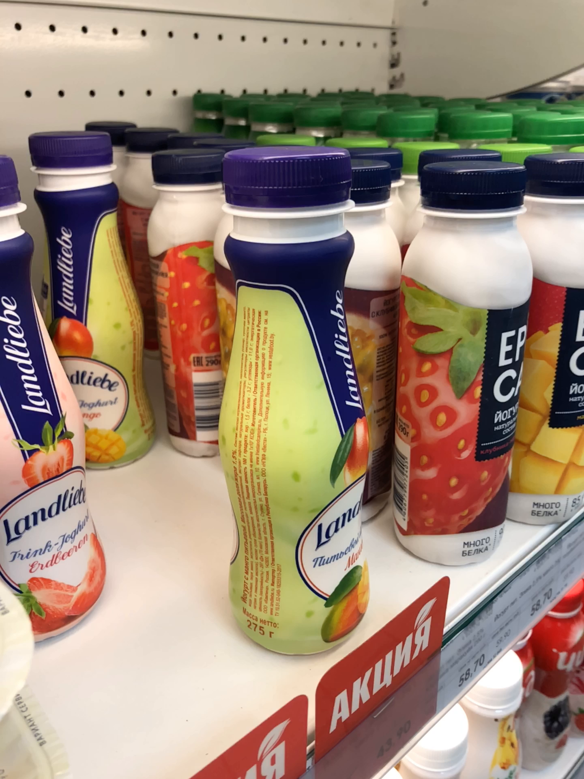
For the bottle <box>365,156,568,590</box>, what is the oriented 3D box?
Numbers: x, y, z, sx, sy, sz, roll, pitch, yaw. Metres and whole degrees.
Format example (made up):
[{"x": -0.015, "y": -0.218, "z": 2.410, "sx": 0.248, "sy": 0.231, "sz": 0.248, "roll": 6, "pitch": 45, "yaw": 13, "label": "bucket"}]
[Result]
[{"x": 0.070, "y": -0.006, "z": 0.280, "sx": 0.051, "sy": 0.173, "sz": 0.048, "roll": 0, "pitch": 24, "yaw": 0, "label": "bottle"}]

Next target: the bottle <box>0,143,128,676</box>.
[{"x": -0.110, "y": 0.008, "z": 0.238, "sx": 0.053, "sy": 0.178, "sz": 0.057, "roll": 0, "pitch": 24, "yaw": 0, "label": "bottle"}]

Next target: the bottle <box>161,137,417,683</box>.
[{"x": 0.000, "y": 0.008, "z": 0.230, "sx": 0.053, "sy": 0.177, "sz": 0.055, "roll": 0, "pitch": 24, "yaw": 0, "label": "bottle"}]
